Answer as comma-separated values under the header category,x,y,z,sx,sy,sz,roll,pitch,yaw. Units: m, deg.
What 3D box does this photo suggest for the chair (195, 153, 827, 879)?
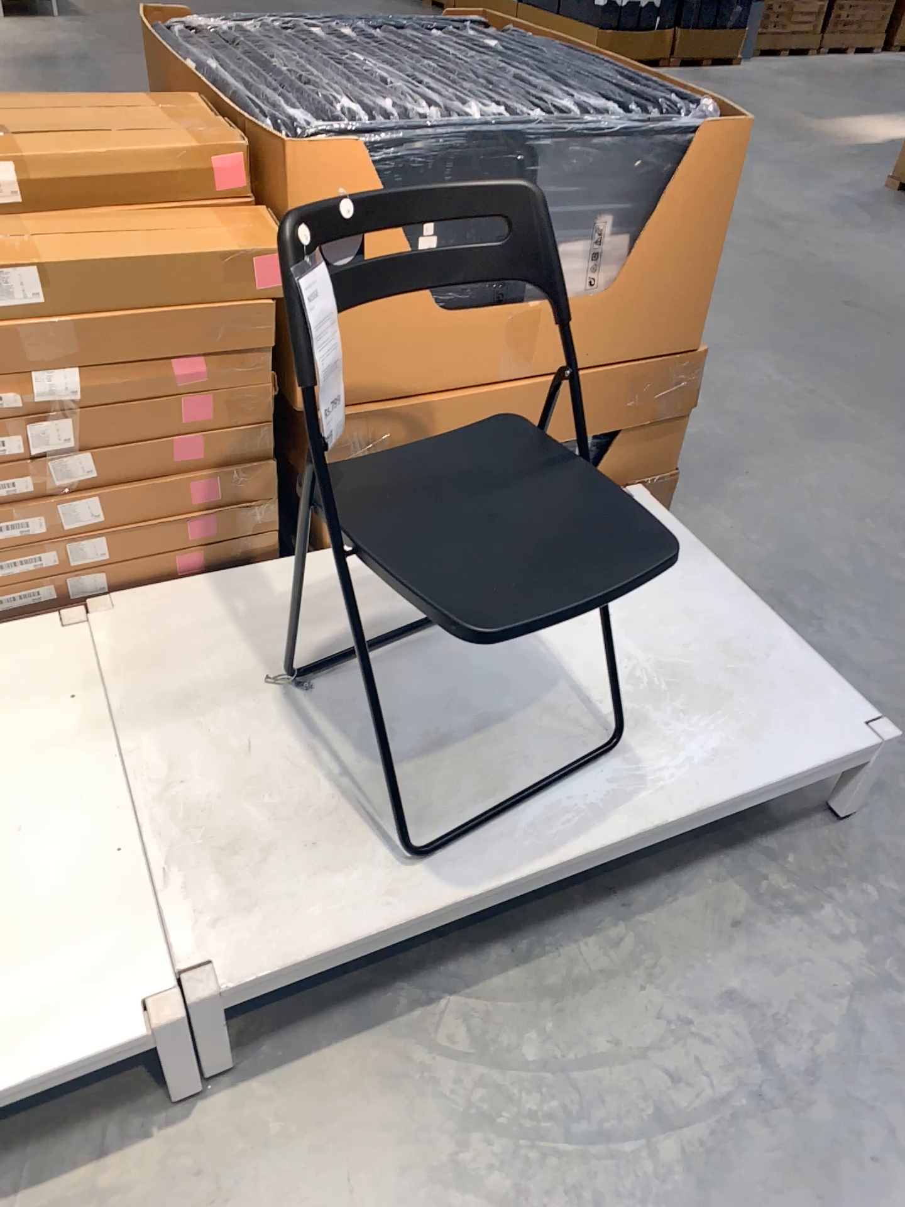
category,x,y,z,sx,sy,sz,roll,pitch,yaw
chair,0.029,-0.121,1.137,0.461,0.657,0.451,-23,47,-29
